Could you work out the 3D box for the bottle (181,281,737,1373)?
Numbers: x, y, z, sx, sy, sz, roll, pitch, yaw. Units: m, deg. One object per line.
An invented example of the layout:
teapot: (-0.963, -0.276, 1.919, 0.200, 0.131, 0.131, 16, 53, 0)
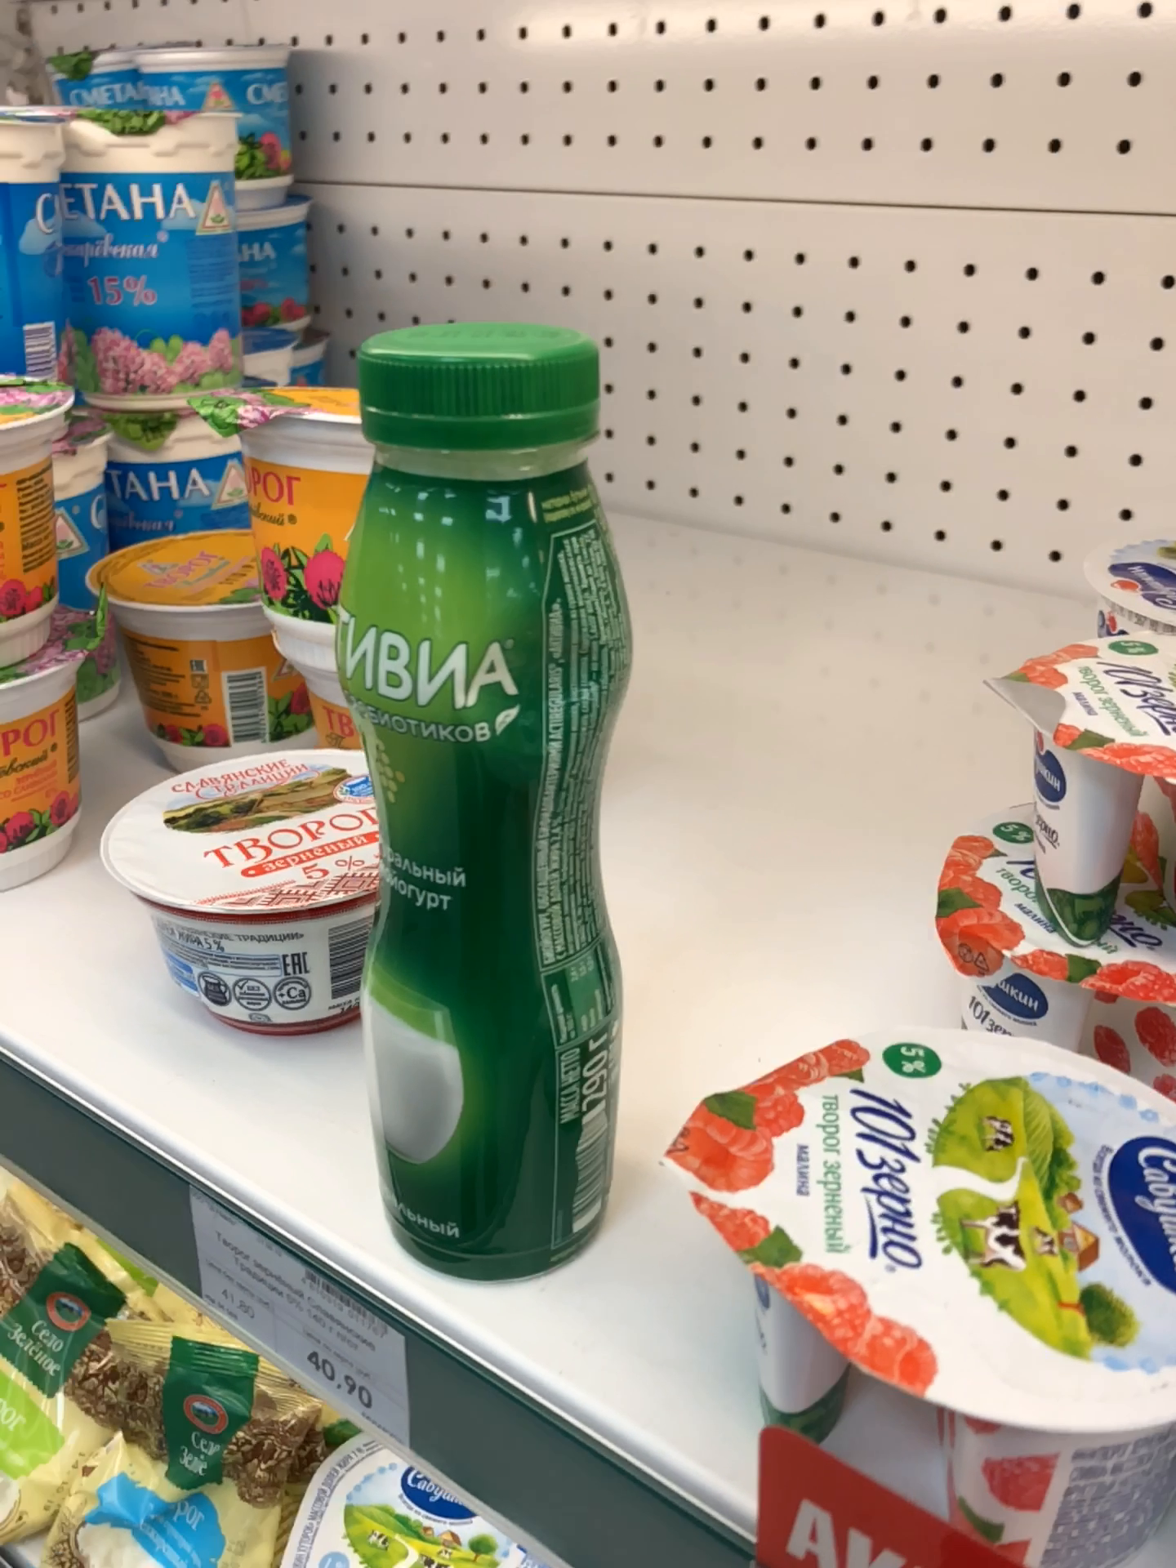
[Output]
bottle: (-0.022, 0.009, 0.251, 0.060, 0.189, 0.070, -21, 33, -35)
